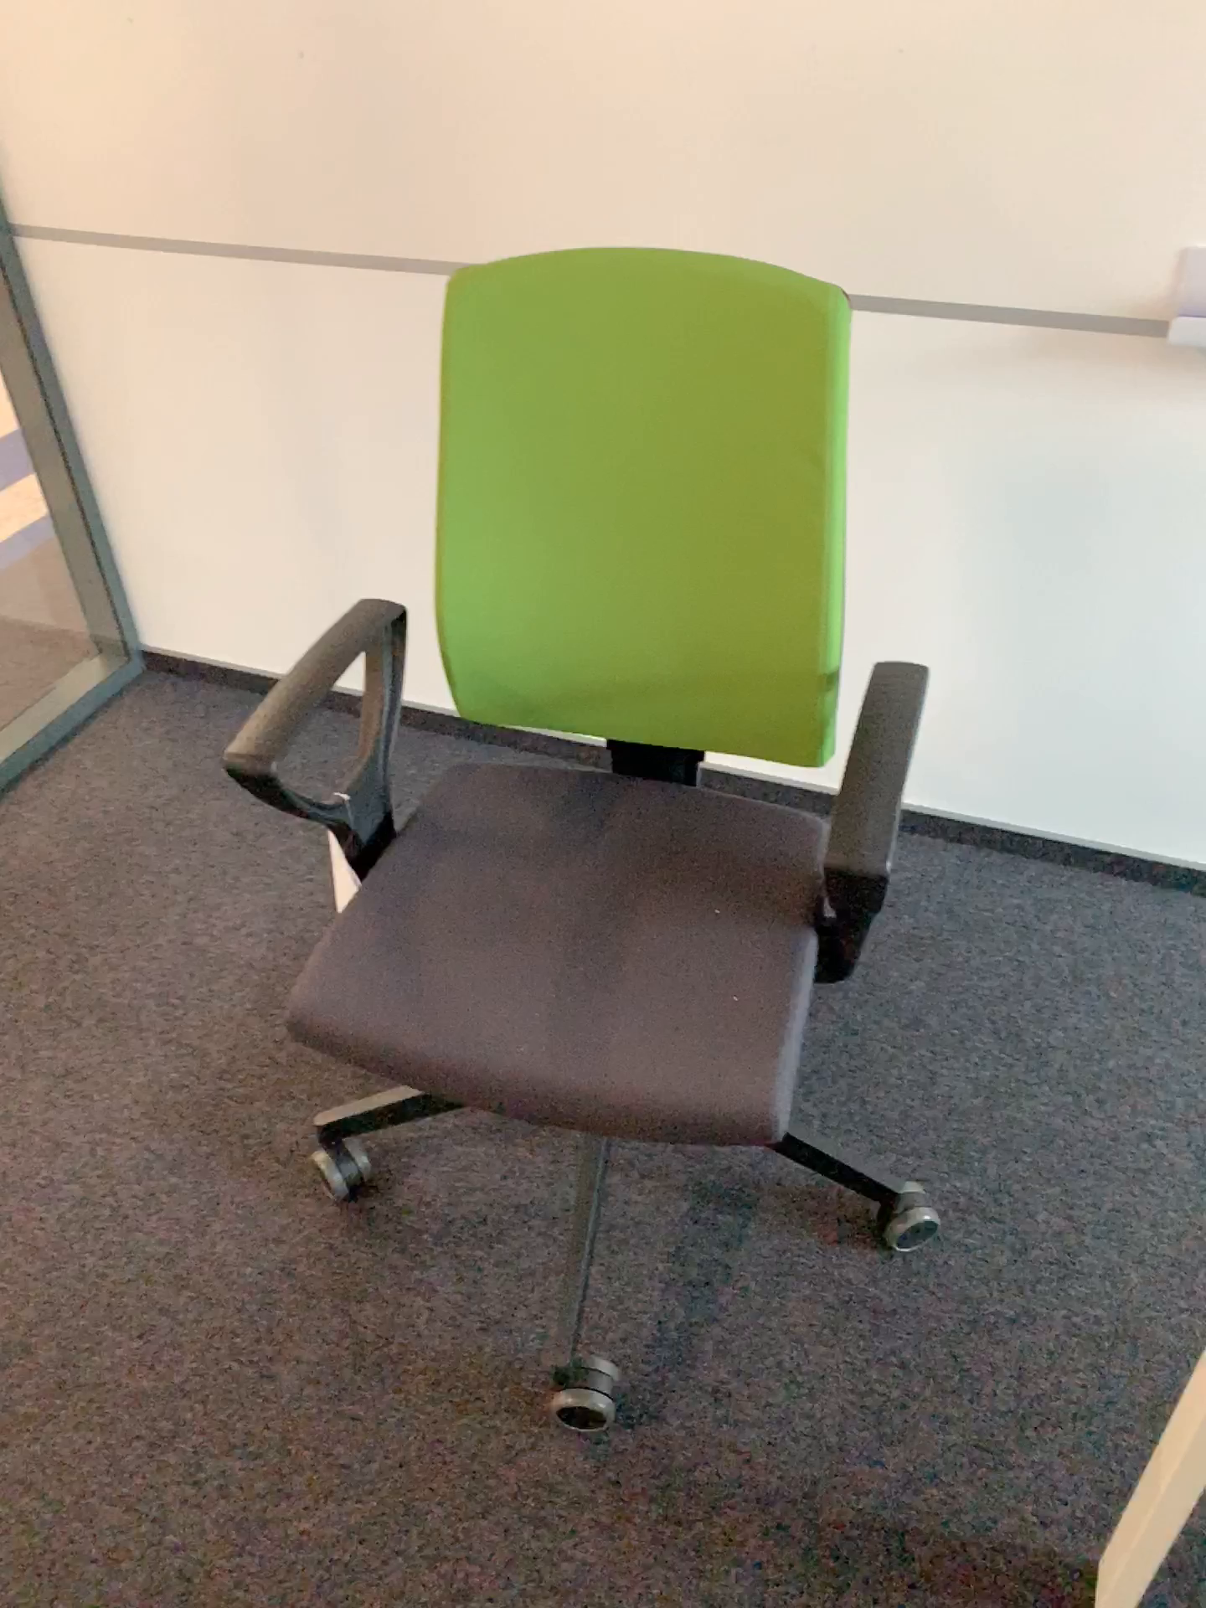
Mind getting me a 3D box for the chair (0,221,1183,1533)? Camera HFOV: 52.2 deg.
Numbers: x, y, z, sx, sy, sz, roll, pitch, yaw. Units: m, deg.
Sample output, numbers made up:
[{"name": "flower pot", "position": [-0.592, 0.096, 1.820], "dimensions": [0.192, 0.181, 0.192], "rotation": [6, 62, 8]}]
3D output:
[{"name": "chair", "position": [0.020, 0.042, 1.237], "dimensions": [0.760, 0.964, 0.734], "rotation": [9, 40, 13]}]
